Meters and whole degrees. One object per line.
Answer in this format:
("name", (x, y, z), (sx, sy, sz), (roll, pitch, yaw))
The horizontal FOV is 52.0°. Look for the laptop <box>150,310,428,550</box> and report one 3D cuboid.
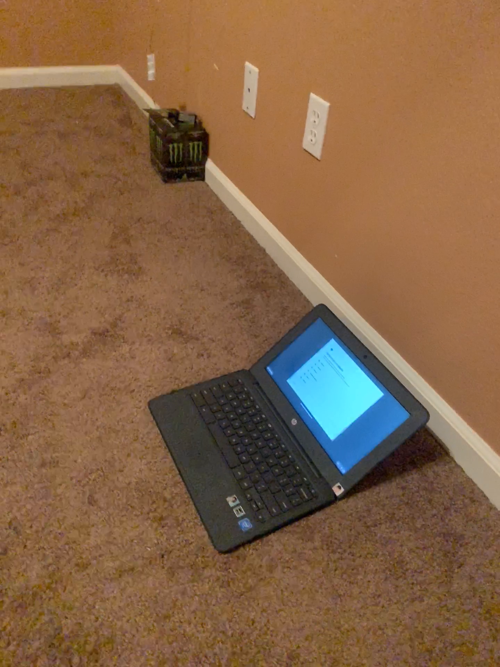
("laptop", (0.047, 0.129, 0.834), (0.331, 0.124, 0.289), (-14, 44, -23))
